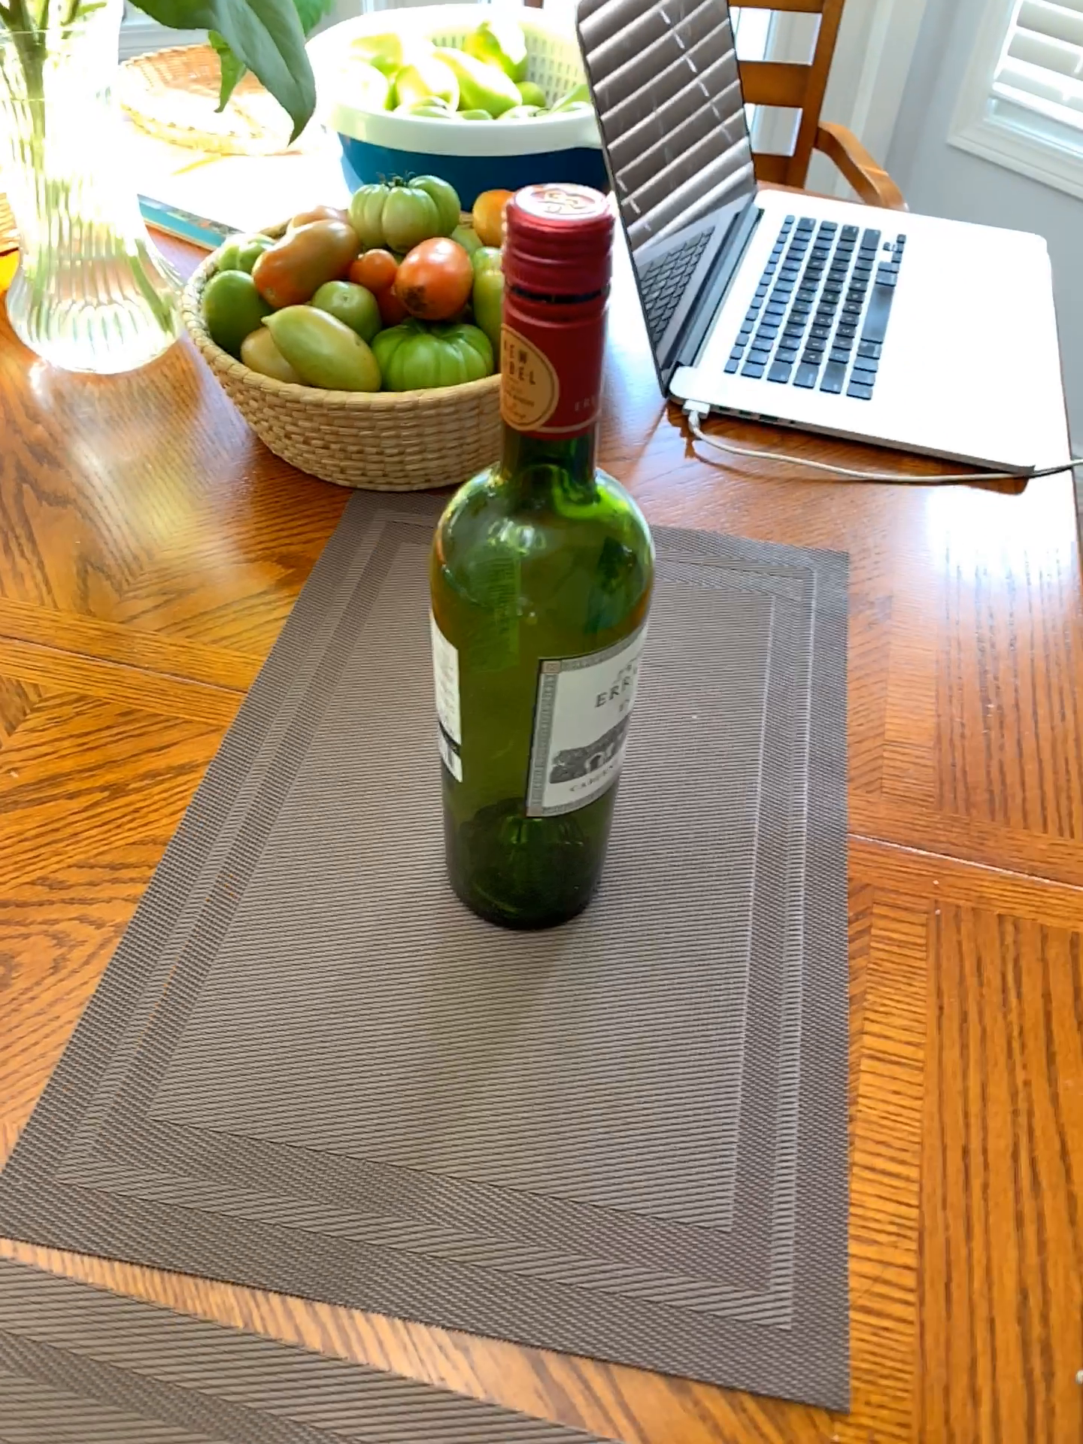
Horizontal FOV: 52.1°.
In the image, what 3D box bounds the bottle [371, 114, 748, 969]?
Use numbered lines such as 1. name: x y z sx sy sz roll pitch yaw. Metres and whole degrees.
1. bottle: 0.002 -0.037 0.409 0.080 0.307 0.091 14 48 9
